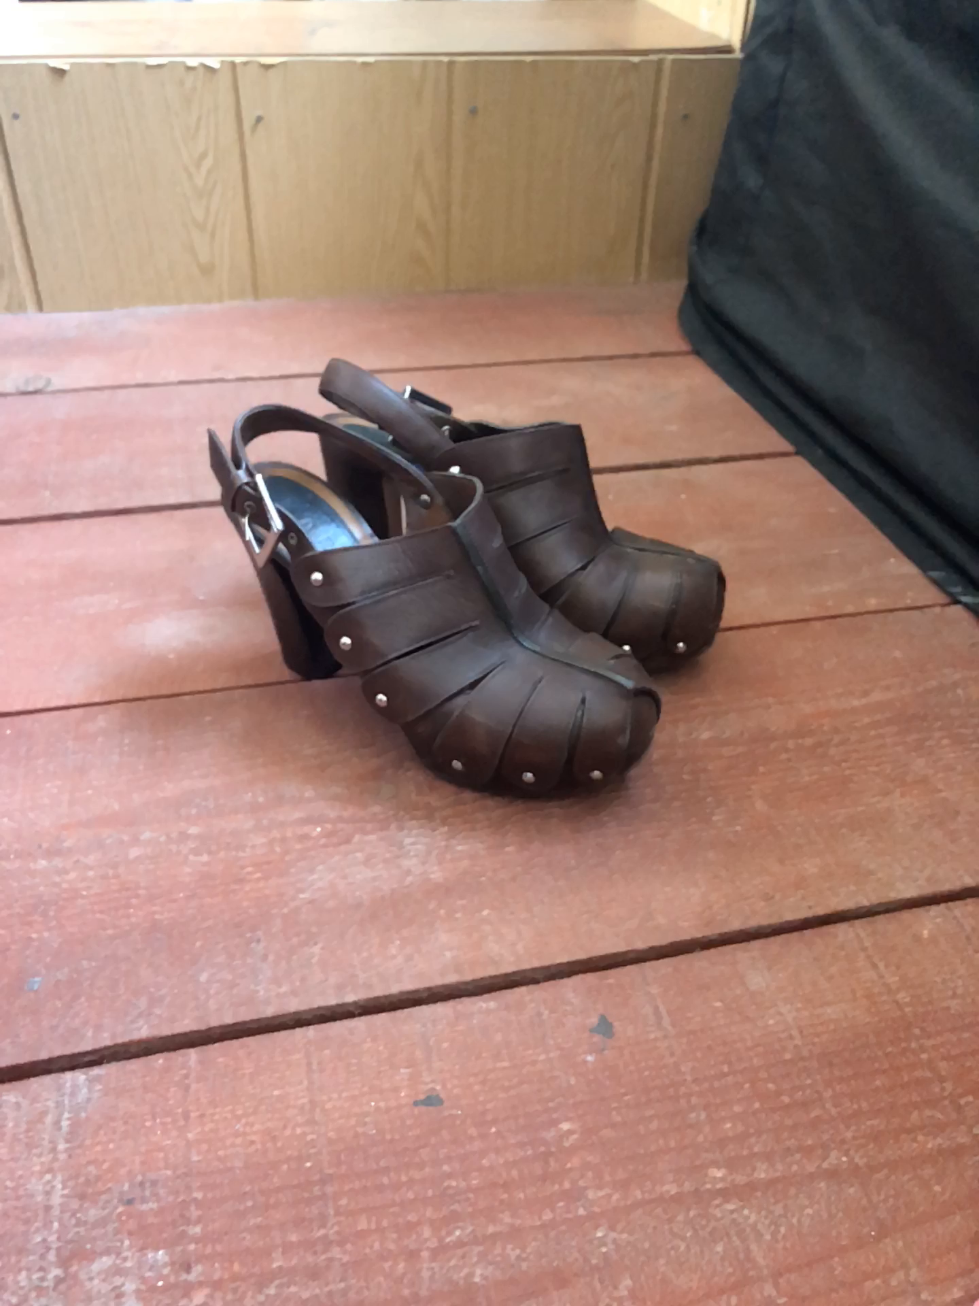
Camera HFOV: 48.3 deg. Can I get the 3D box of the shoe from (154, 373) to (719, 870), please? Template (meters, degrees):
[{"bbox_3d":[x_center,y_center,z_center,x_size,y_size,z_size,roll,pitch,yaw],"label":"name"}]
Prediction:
[{"bbox_3d":[-0.027,-0.022,0.453,0.210,0.120,0.080,23,41,27],"label":"shoe"}]

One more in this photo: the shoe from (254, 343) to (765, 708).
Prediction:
[{"bbox_3d":[0.009,-0.064,0.504,0.210,0.110,0.080,13,24,9],"label":"shoe"}]
